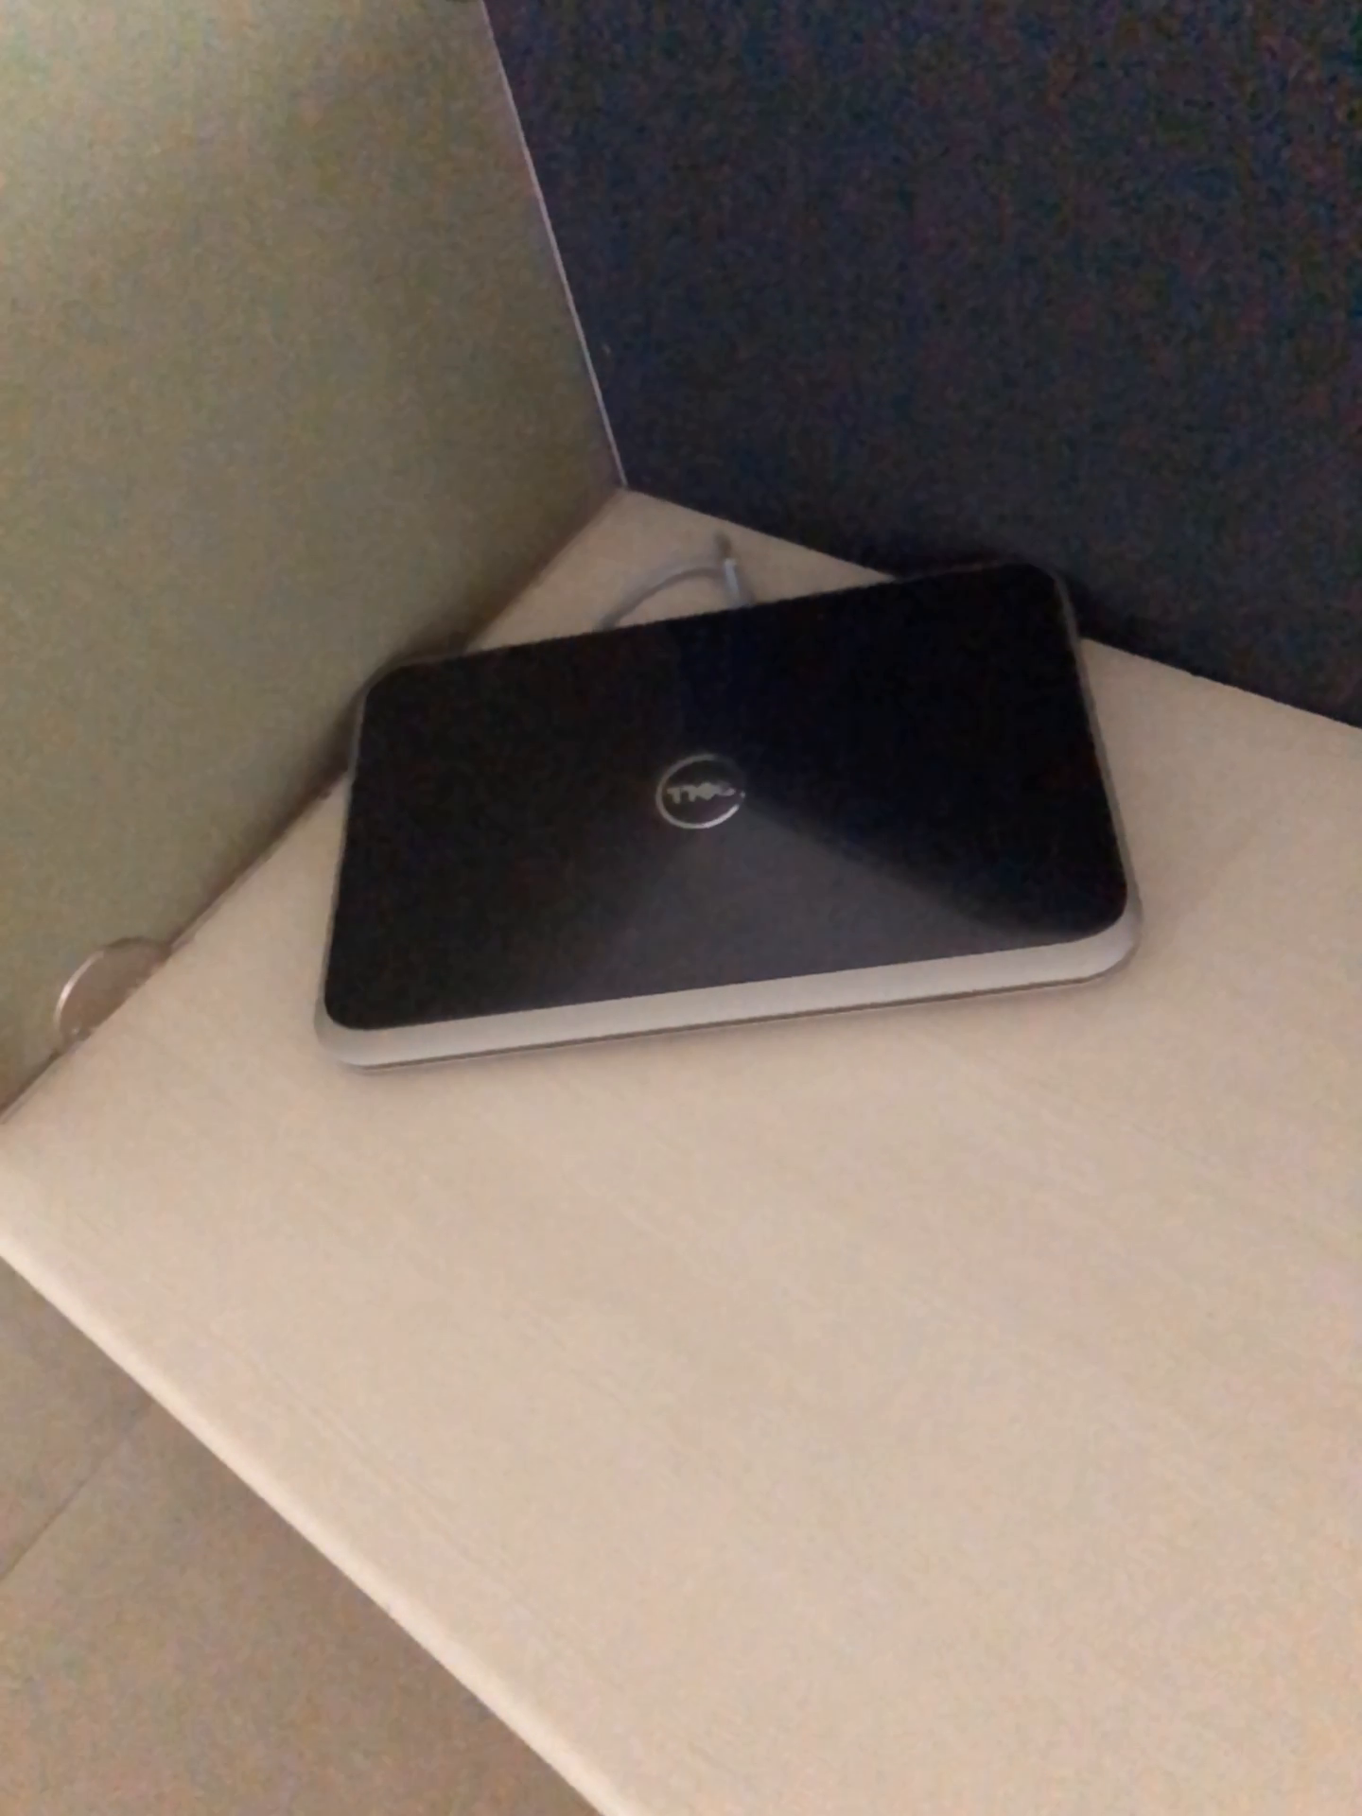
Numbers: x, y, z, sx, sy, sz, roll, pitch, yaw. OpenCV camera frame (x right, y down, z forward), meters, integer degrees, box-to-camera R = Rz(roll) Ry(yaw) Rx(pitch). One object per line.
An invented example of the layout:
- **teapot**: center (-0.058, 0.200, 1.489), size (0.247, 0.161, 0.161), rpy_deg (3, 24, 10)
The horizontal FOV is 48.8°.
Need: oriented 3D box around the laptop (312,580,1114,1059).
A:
- **laptop**: center (0.003, -0.049, 0.753), size (0.371, 0.010, 0.246), rpy_deg (-7, 53, 13)
